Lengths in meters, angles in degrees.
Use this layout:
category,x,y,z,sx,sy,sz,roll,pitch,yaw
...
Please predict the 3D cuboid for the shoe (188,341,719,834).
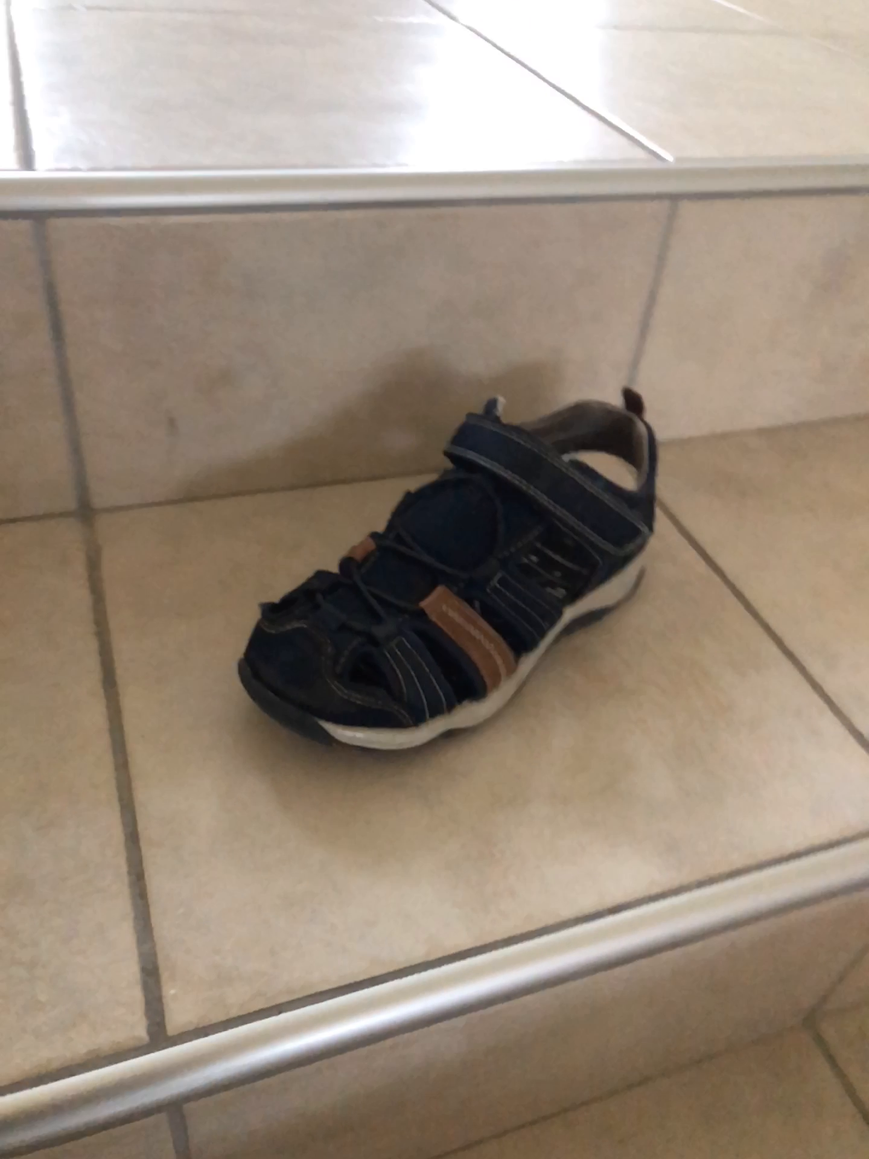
category,x,y,z,sx,sy,sz,roll,pitch,yaw
shoe,0.015,-0.011,0.419,0.090,0.099,0.221,34,47,29
